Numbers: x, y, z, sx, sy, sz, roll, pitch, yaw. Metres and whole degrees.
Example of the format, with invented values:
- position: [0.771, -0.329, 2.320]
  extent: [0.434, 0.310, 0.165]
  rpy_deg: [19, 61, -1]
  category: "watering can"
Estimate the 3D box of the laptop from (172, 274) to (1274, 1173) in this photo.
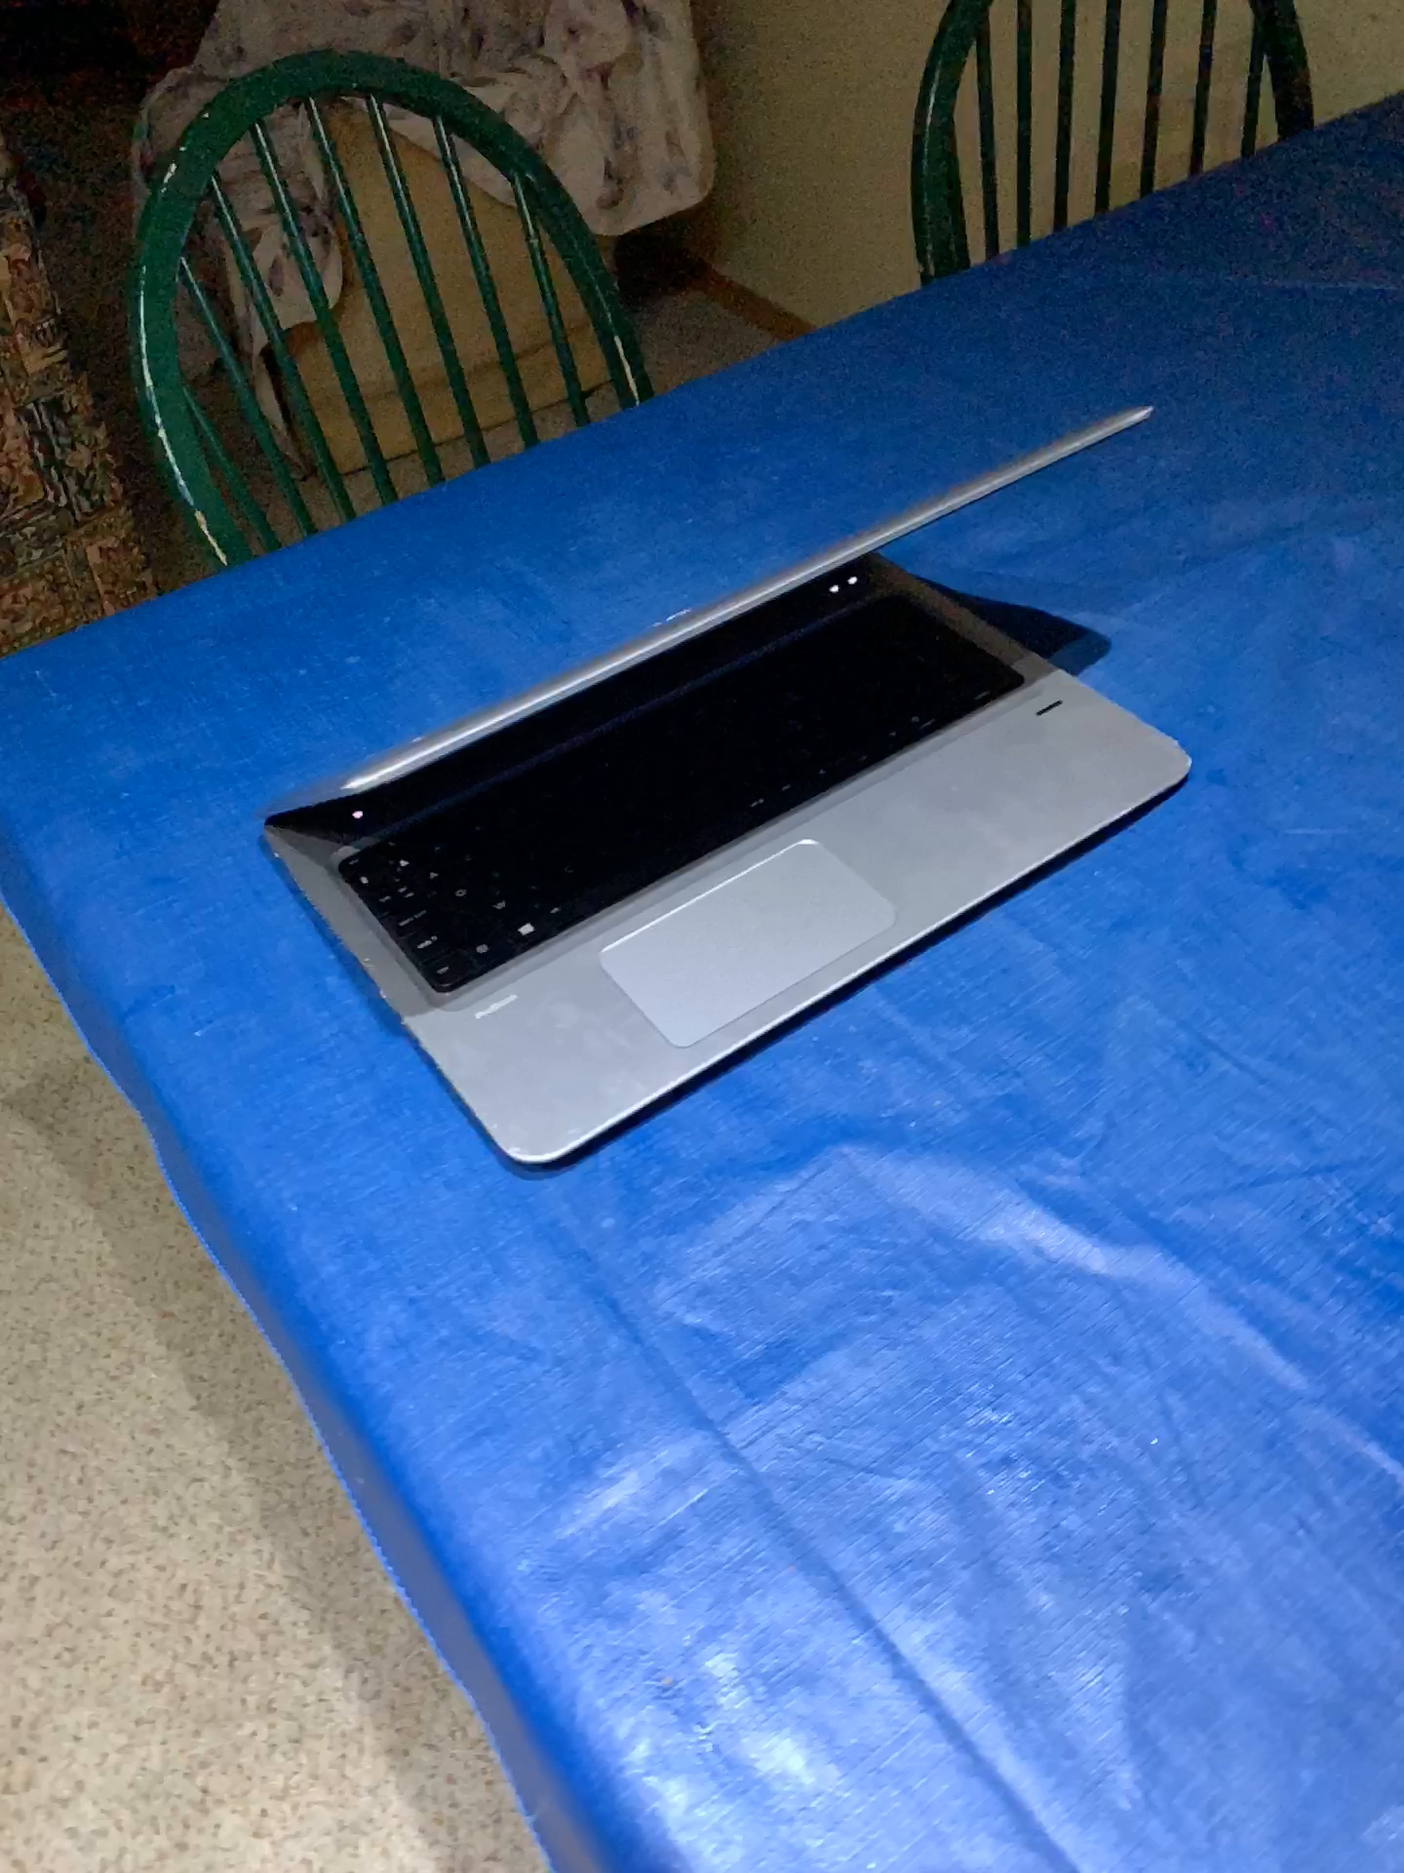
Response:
- position: [0.009, -0.120, 0.634]
  extent: [0.366, 0.156, 0.254]
  rpy_deg: [-29, 52, -21]
  category: "laptop"
